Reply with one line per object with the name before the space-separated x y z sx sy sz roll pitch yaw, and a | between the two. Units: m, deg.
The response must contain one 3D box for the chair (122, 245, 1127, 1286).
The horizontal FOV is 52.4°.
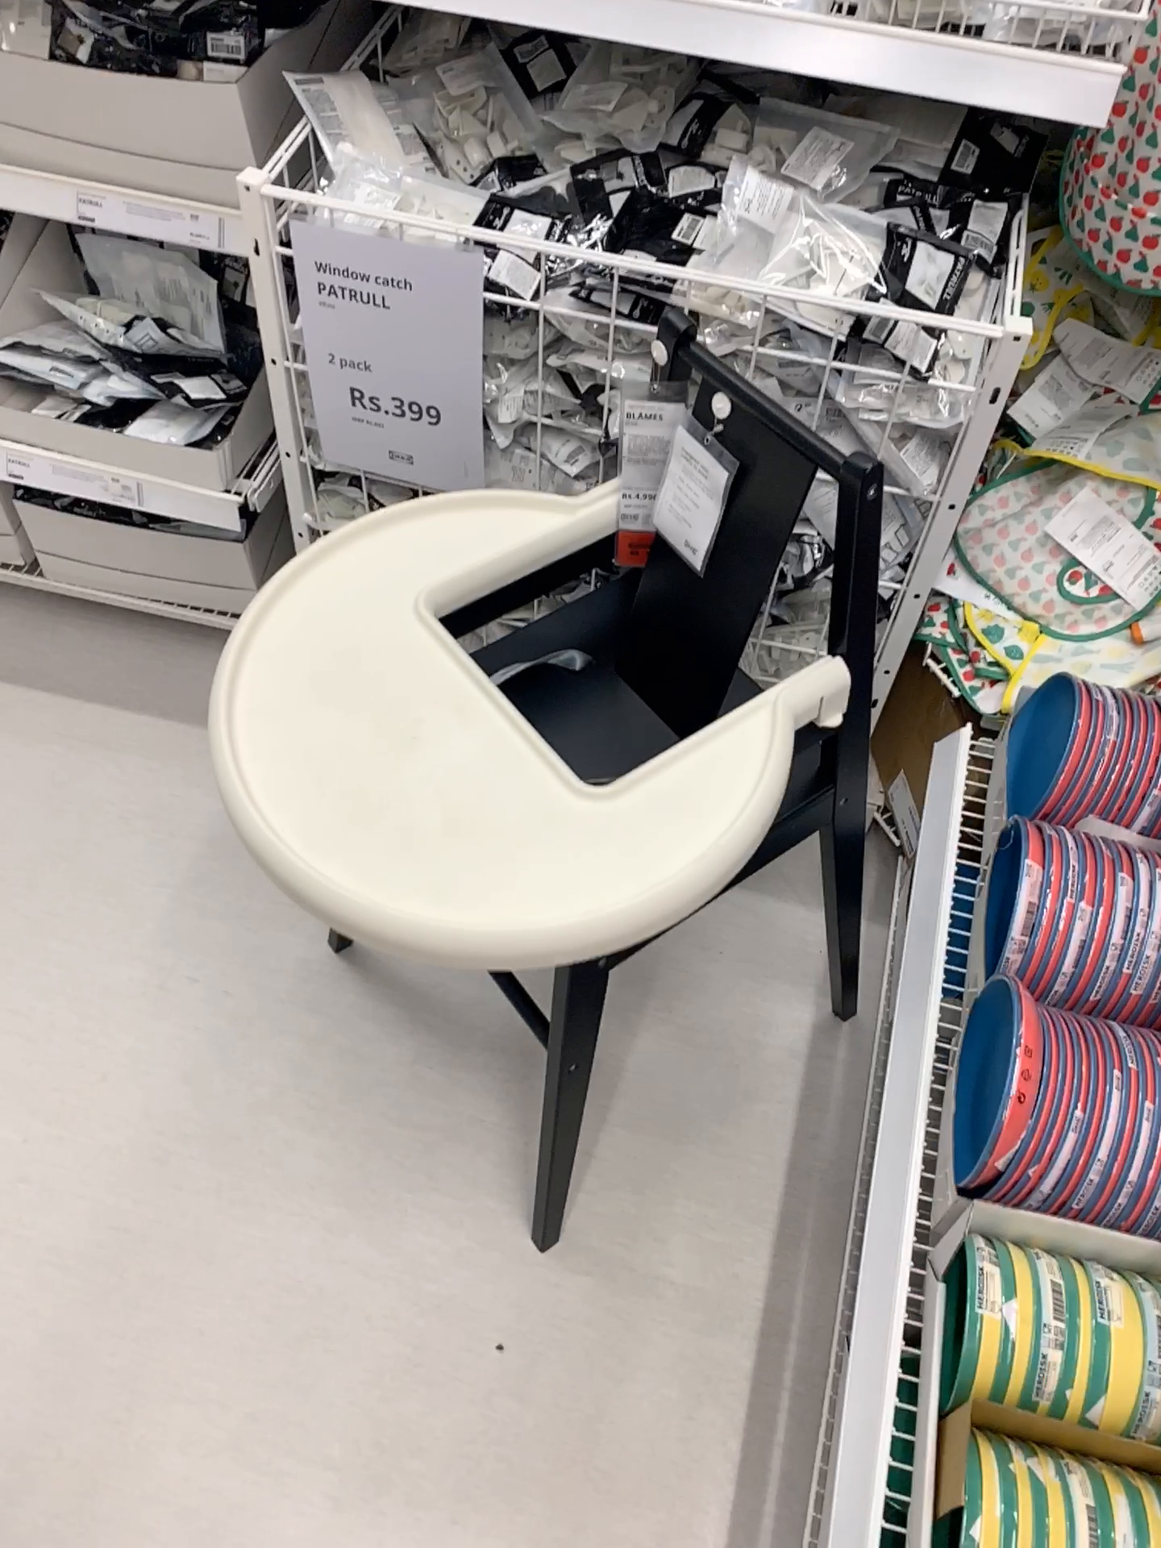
chair | 0.009 0.032 1.205 0.551 0.778 0.531 -30 61 -22
